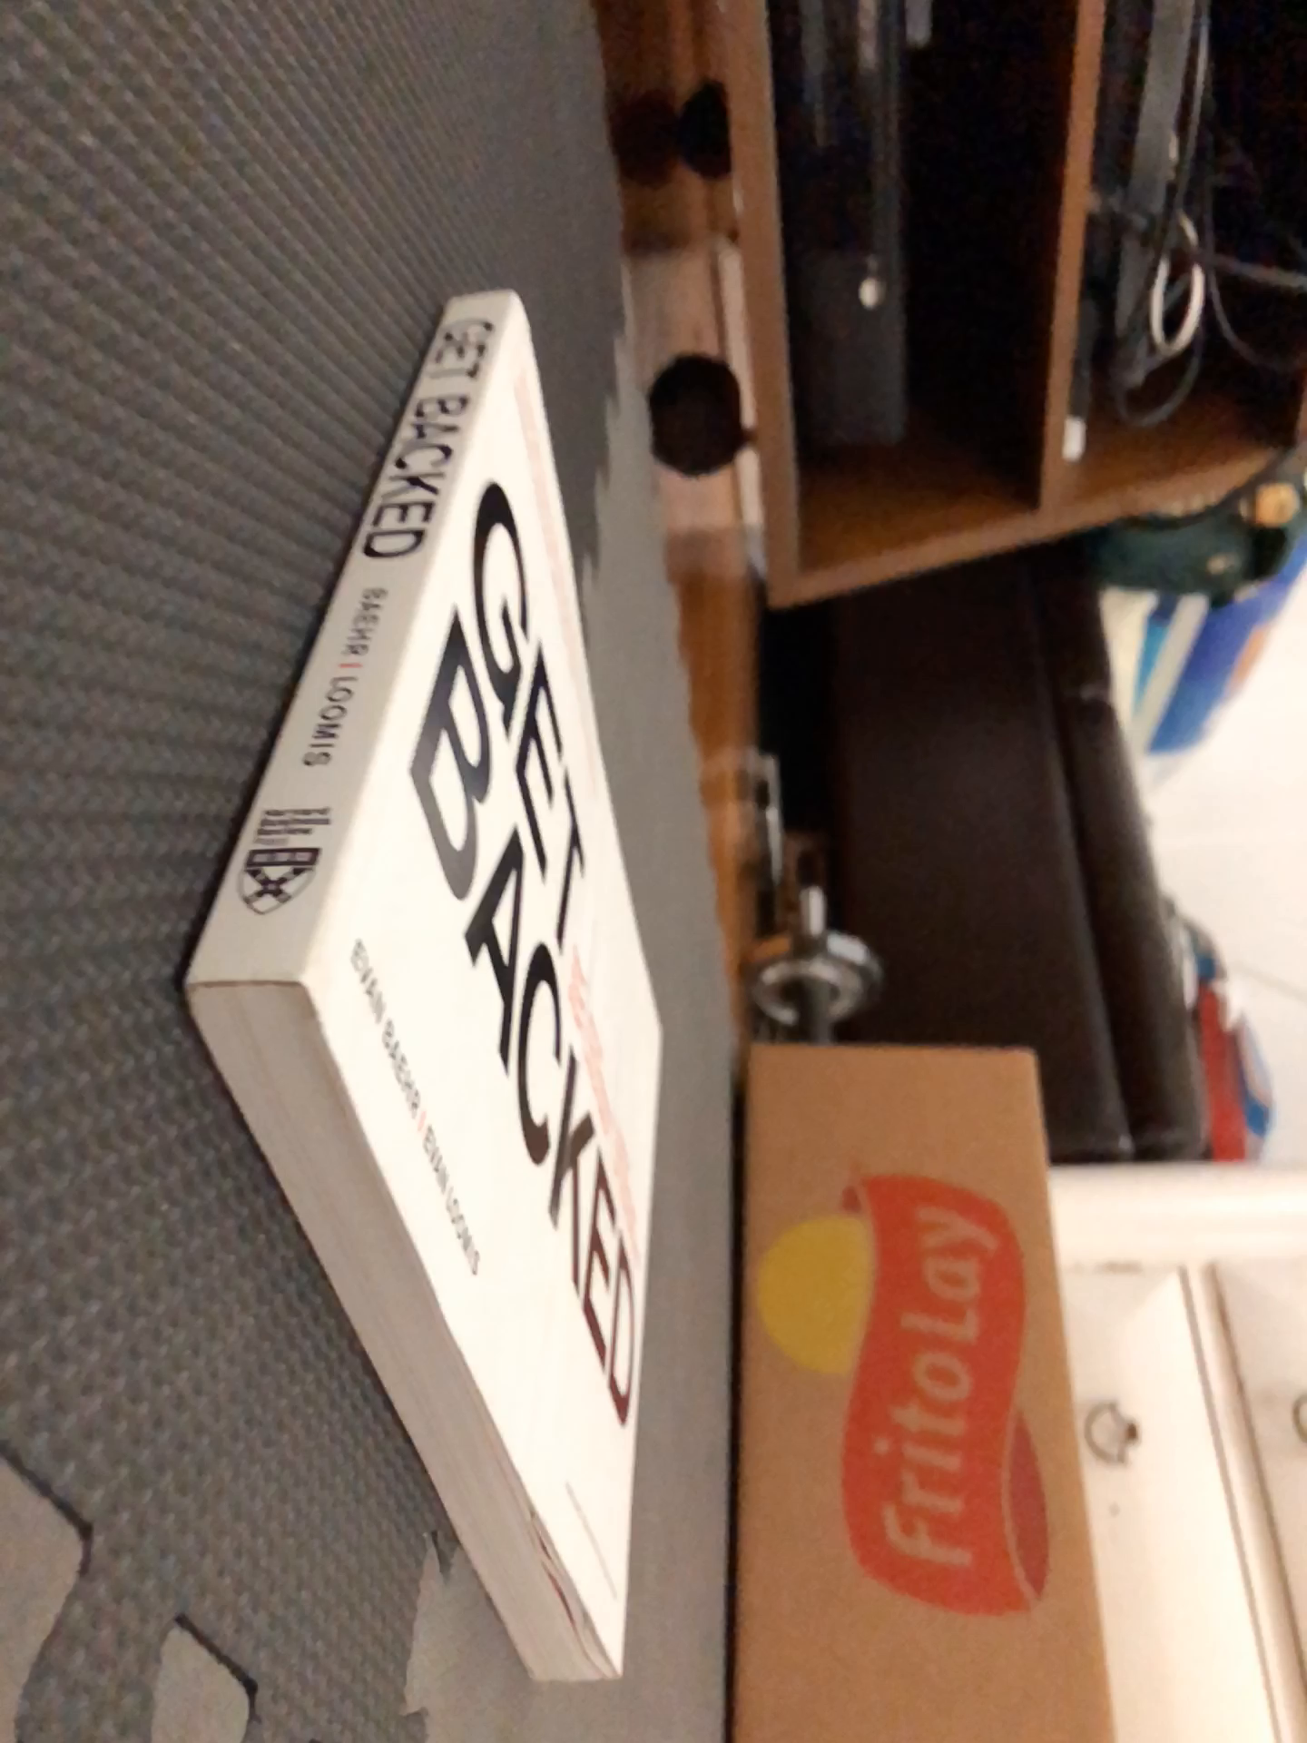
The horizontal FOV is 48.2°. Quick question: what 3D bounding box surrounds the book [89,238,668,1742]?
[{"bbox_3d":[-0.028,0.034,0.321,0.210,0.020,0.260,-84,169,-45],"label":"book"}]
